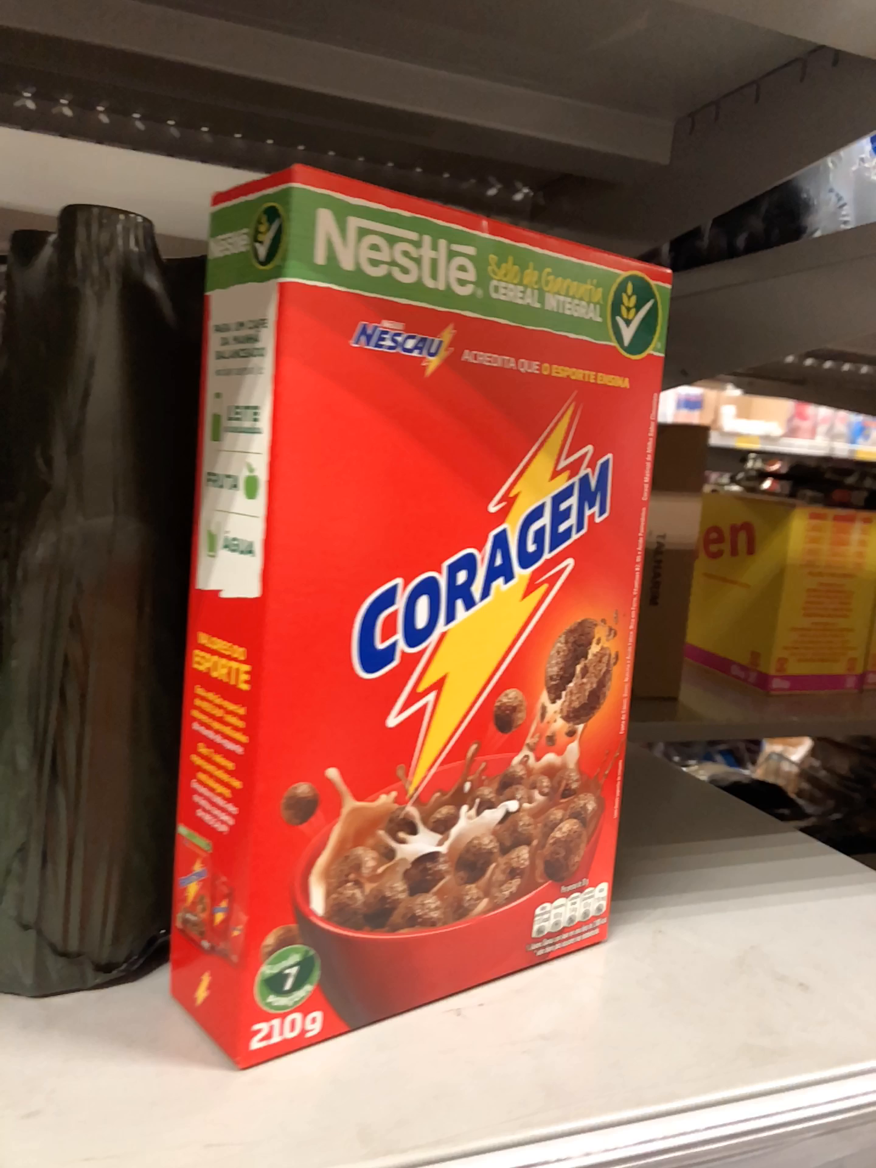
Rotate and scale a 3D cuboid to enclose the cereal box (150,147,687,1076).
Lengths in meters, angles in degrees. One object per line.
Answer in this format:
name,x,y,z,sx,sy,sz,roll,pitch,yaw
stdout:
cereal box,-0.003,0.007,0.333,0.170,0.249,0.060,-2,7,-37
